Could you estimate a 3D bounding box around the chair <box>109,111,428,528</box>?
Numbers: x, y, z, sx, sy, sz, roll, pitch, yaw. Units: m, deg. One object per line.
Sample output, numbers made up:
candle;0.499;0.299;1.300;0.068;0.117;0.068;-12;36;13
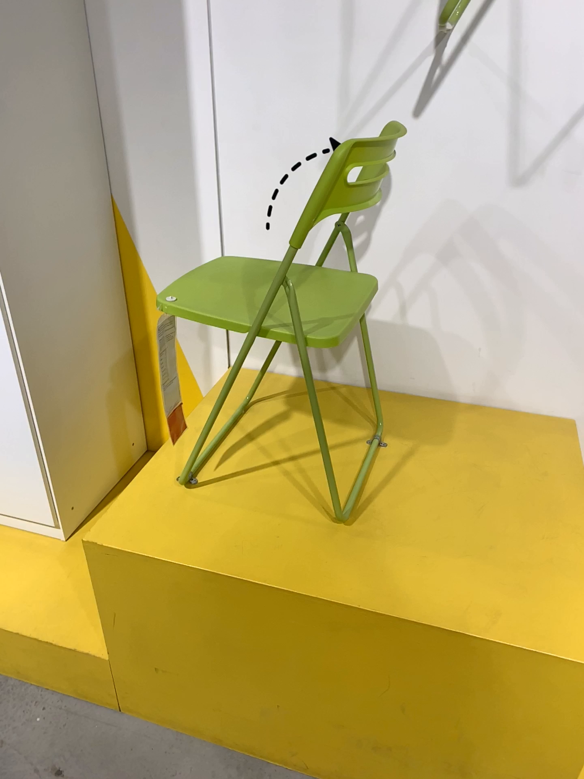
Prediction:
chair;-0.012;-0.178;1.272;0.460;0.717;0.452;10;30;16
